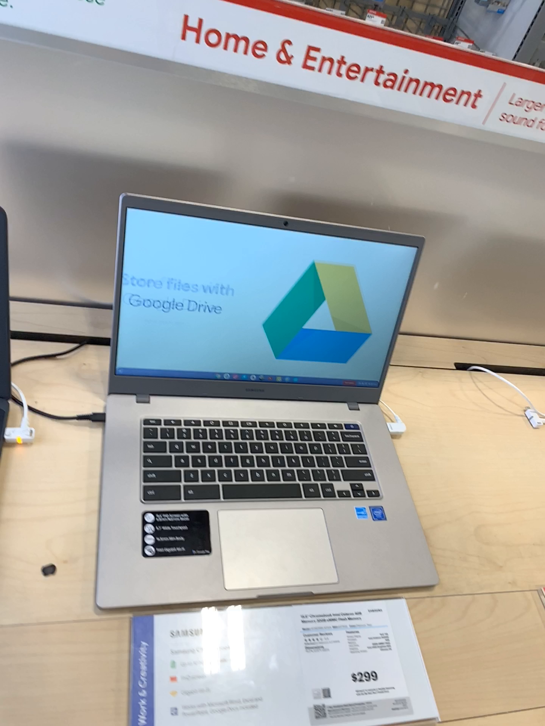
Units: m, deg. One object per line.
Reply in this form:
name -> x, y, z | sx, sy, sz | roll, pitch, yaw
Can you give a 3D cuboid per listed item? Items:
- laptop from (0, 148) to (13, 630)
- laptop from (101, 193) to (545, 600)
laptop -> -0.390, 0.017, 0.439 | 0.301, 0.191, 0.288 | 2, 47, -17
laptop -> 0.013, 0.028, 0.577 | 0.340, 0.201, 0.325 | 3, 49, -16
